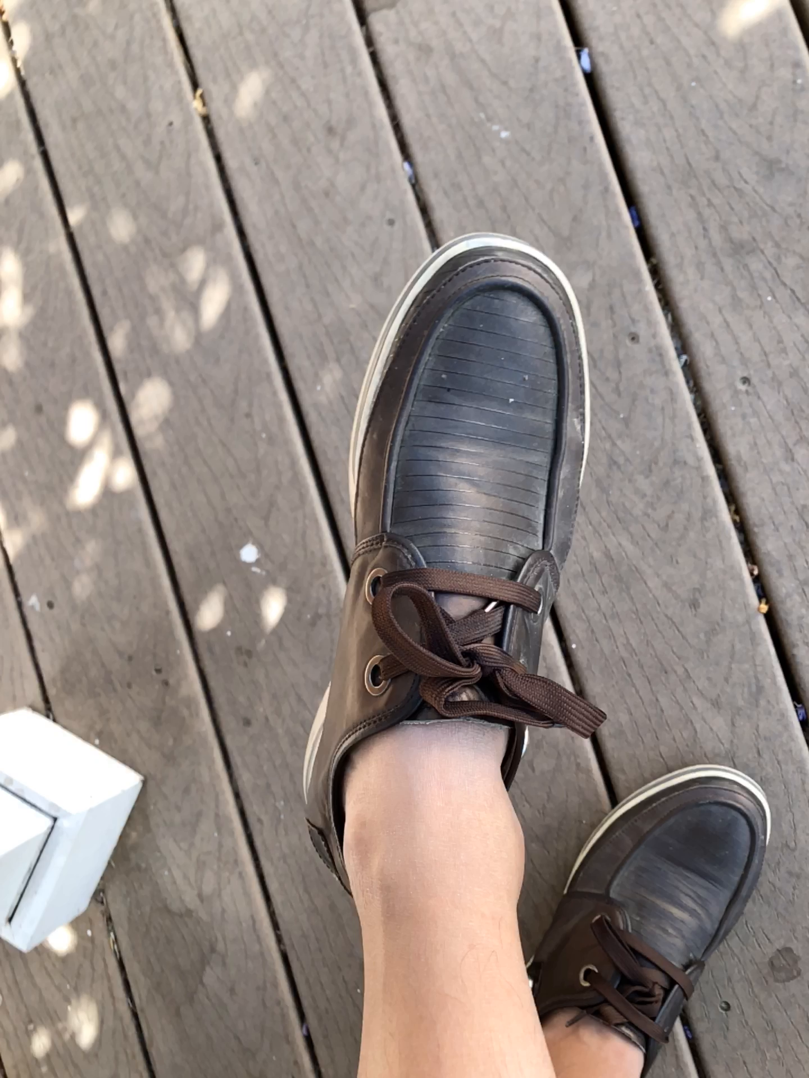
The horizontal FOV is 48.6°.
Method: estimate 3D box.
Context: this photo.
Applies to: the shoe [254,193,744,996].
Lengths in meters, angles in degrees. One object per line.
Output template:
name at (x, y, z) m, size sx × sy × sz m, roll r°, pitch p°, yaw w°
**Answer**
shoe at (0.022, 0.026, 0.378) m, size 0.118 × 0.104 × 0.295 m, roll 10°, pitch 105°, yaw -7°
